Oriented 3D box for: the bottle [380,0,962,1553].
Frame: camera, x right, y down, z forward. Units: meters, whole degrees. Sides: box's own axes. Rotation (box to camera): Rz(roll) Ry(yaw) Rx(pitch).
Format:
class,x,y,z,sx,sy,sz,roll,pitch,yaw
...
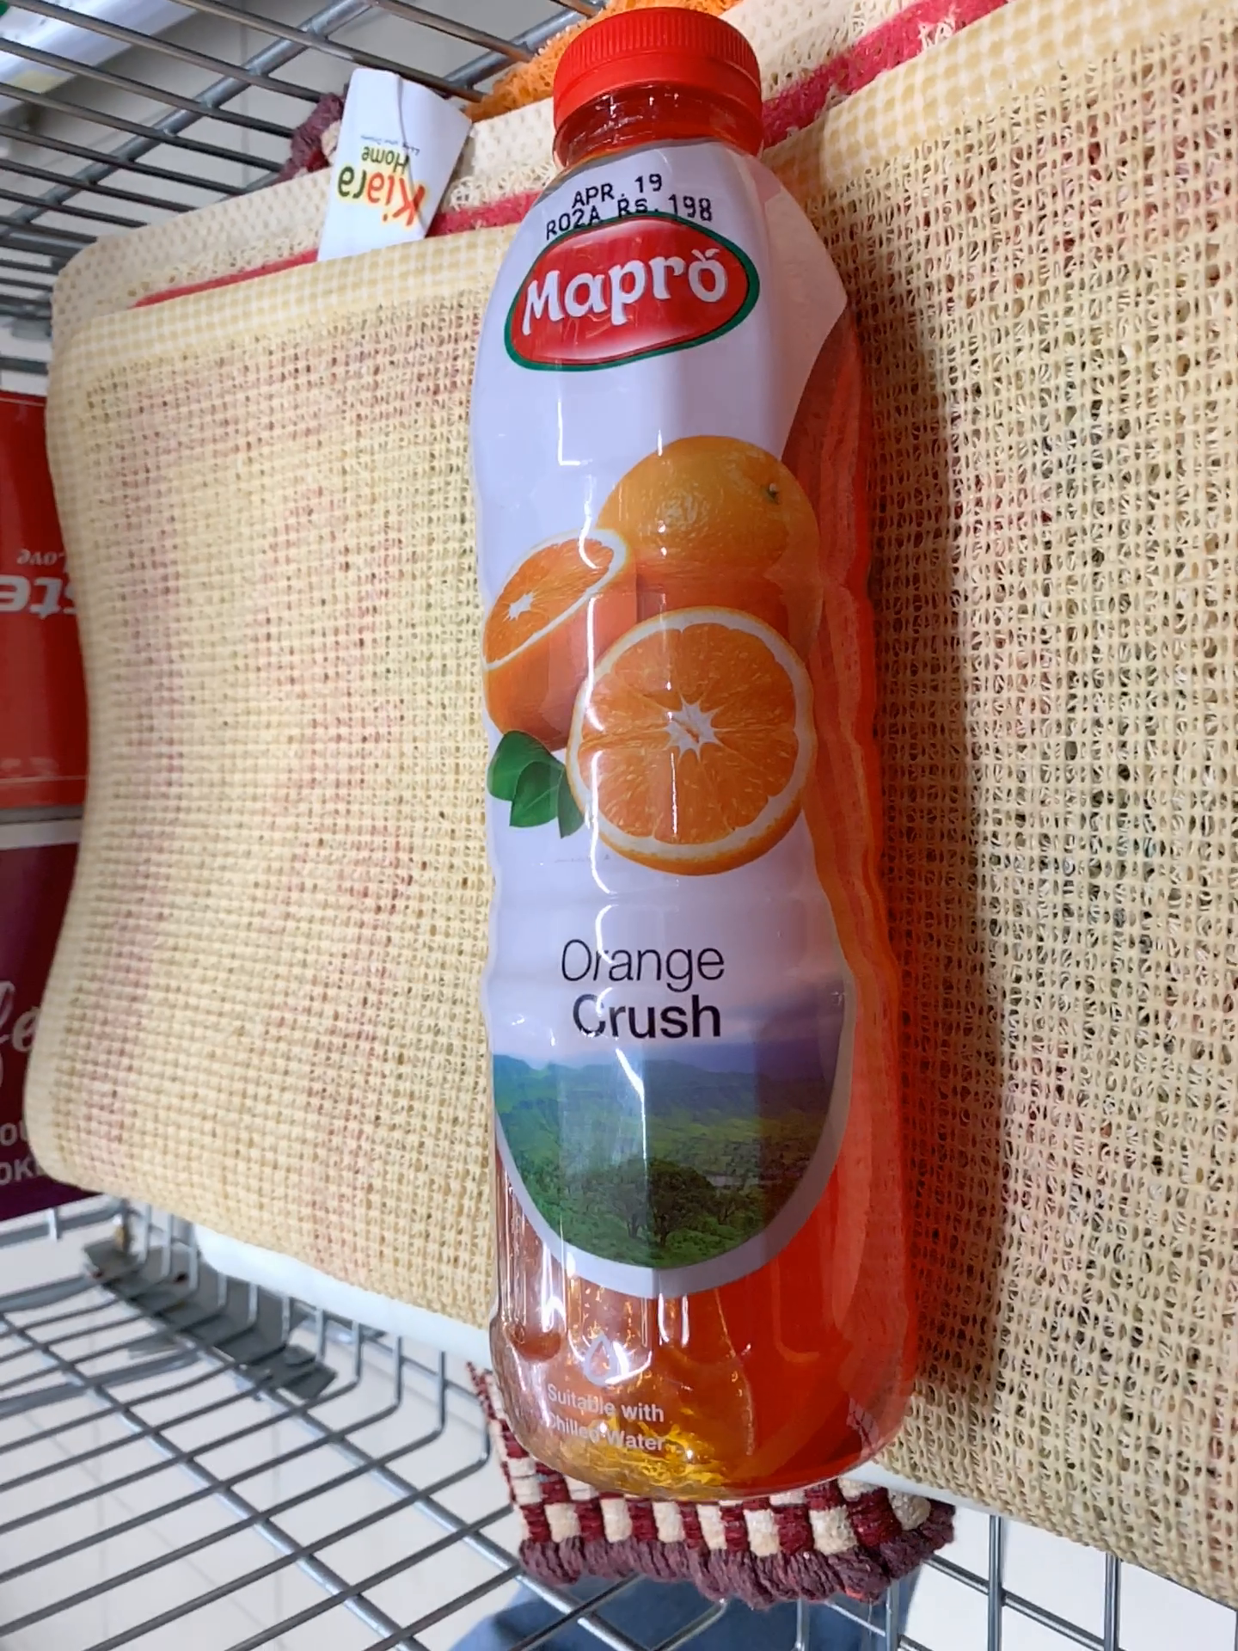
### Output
class,x,y,z,sx,sy,sz,roll,pitch,yaw
bottle,0.013,-0.023,0.216,0.080,0.070,0.240,-1,90,18
